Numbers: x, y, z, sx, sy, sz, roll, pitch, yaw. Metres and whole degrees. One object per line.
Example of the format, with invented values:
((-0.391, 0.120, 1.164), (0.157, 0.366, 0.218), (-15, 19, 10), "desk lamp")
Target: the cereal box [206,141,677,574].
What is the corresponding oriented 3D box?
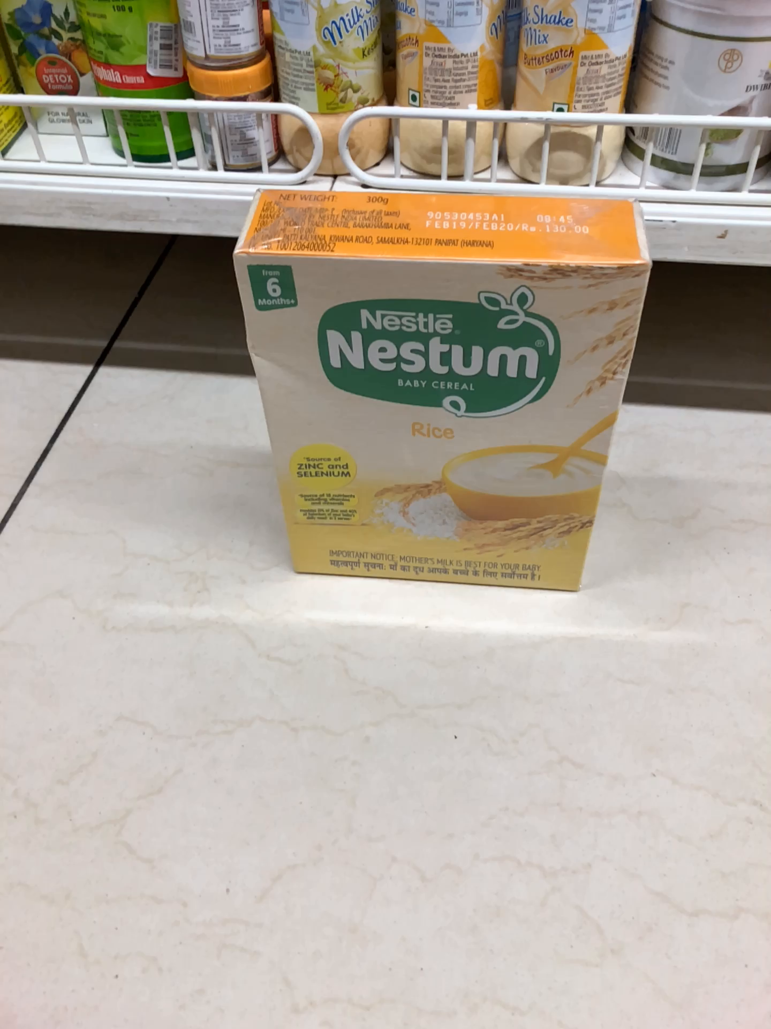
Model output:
((0.022, -0.058, 0.376), (0.160, 0.189, 0.050), (3, 47, 5), "cereal box")
